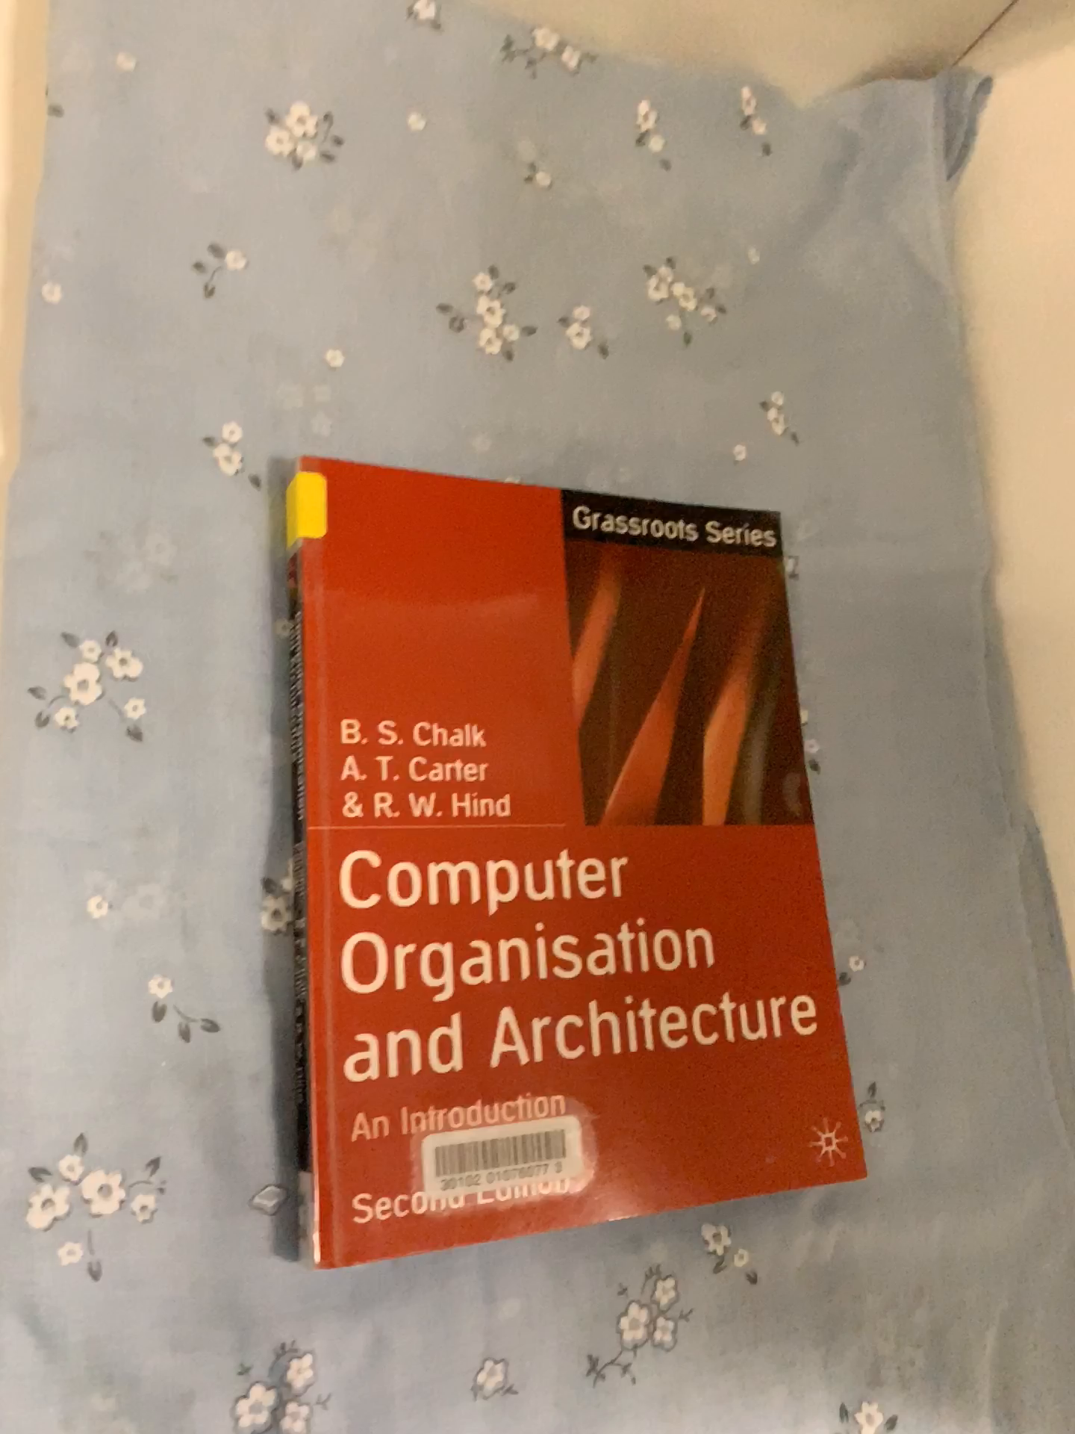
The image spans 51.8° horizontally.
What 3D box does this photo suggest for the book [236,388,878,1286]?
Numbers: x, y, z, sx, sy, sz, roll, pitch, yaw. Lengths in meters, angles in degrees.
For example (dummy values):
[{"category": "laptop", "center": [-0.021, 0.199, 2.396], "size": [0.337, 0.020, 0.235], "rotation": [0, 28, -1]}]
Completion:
[{"category": "book", "center": [0.006, 0.030, 0.386], "size": [0.211, 0.030, 0.270], "rotation": [3, 74, -23]}]
